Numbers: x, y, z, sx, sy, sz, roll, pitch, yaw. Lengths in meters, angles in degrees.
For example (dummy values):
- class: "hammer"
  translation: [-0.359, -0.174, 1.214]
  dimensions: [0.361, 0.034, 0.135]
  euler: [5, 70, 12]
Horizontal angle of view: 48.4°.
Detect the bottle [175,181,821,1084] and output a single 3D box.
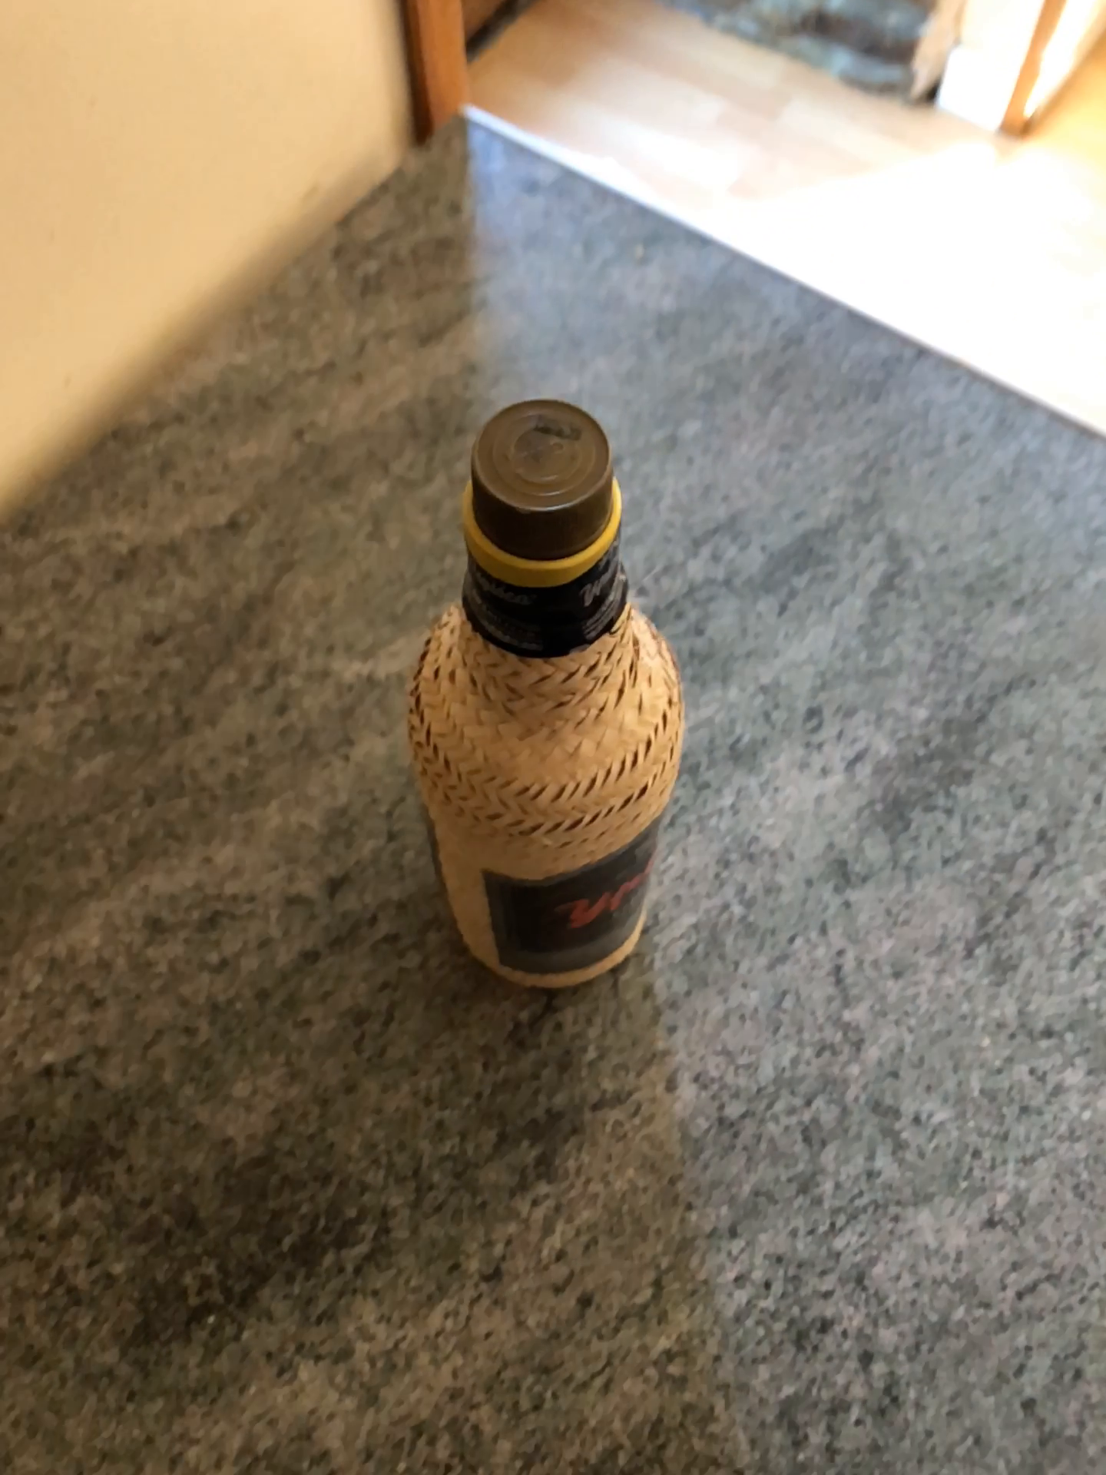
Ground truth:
- class: "bottle"
  translation: [-0.007, 0.006, 0.352]
  dimensions: [0.080, 0.289, 0.090]
  euler: [32, 67, 16]
